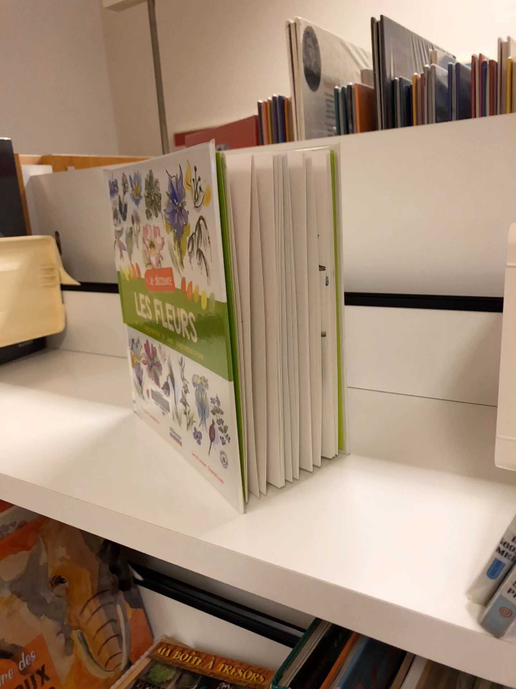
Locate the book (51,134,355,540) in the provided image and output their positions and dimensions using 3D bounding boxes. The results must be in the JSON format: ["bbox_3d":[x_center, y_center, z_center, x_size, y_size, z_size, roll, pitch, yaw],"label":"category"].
[{"bbox_3d":[-0.046,-0.021,0.406,0.104,0.215,0.208,-13,16,-36],"label":"book"}]
